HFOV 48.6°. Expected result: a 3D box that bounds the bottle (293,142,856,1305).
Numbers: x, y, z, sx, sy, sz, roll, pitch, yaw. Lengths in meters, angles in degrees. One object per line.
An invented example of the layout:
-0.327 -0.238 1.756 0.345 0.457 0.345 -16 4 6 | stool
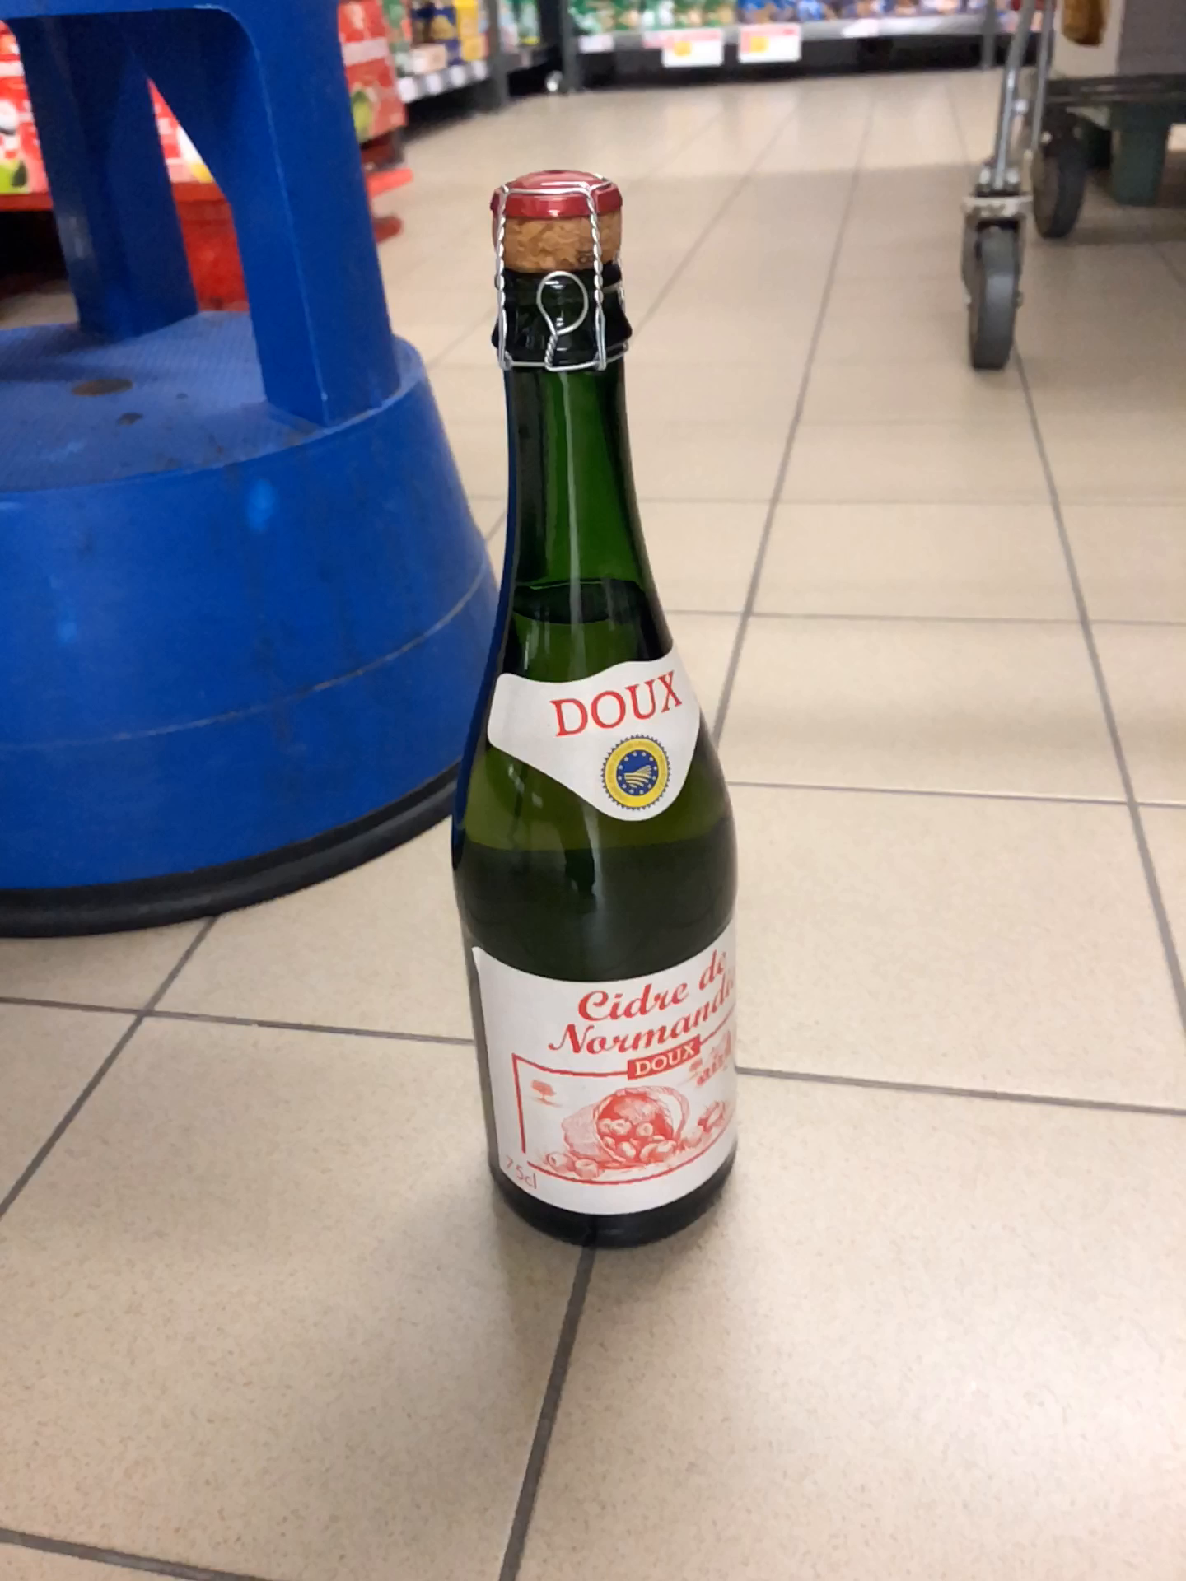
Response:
-0.002 -0.007 0.353 0.100 0.288 0.090 -11 32 -12 | bottle
